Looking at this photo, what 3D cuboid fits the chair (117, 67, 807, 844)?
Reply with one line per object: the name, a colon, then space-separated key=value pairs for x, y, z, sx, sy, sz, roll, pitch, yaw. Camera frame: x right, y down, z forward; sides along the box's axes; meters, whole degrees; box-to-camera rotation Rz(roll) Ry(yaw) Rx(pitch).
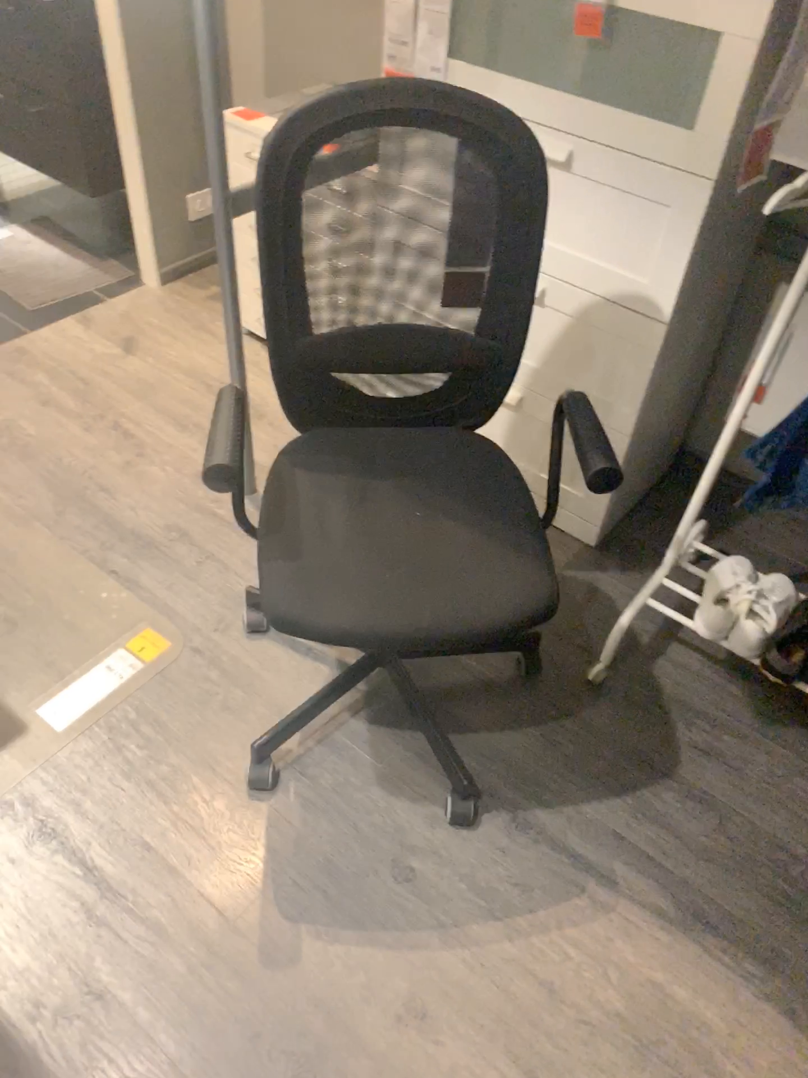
chair: x=0.023 y=-0.086 z=1.292 sx=0.640 sy=0.976 sz=0.683 roll=0 pitch=44 yaw=-6
